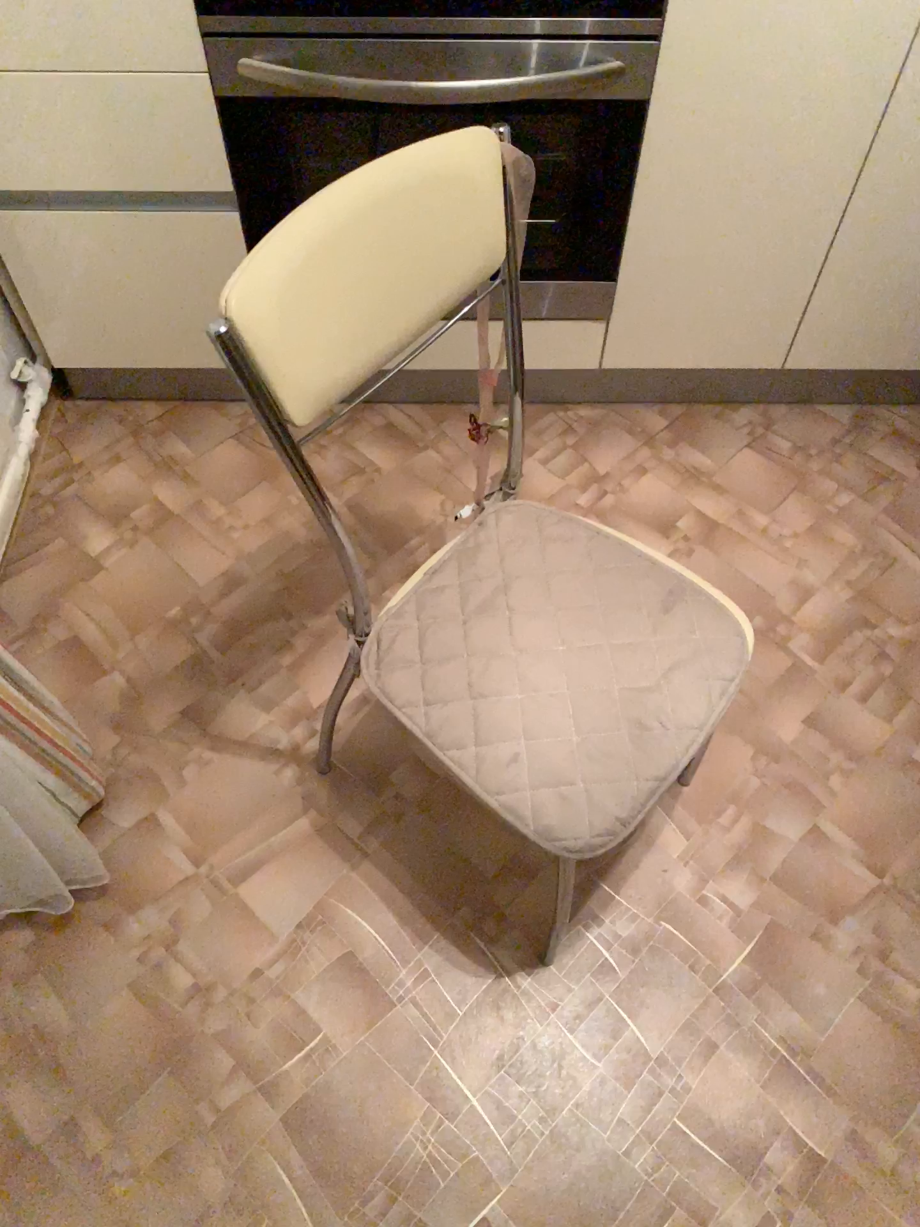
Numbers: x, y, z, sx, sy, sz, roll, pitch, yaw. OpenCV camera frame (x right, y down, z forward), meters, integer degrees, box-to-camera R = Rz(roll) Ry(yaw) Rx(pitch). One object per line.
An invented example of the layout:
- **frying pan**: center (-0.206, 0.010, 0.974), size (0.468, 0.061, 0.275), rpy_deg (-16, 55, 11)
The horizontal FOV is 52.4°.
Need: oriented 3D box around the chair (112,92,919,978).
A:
- **chair**: center (0.045, 0.003, 1.063), size (0.491, 0.855, 0.386), rpy_deg (35, 64, 20)
